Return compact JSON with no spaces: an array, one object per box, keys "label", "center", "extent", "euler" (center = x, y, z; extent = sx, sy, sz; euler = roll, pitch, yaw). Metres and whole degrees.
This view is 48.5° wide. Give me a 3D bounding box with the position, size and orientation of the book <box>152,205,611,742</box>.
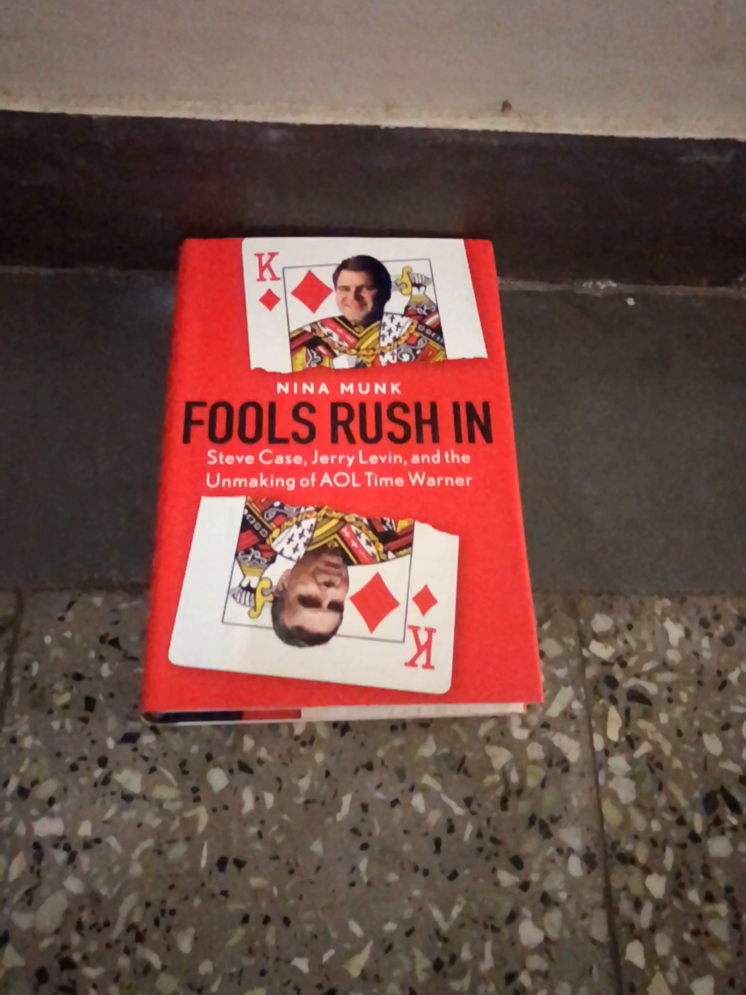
[{"label":"book","center":[-0.001,-0.027,0.397],"extent":[0.180,0.030,0.271],"euler":[0,64,-4]}]
